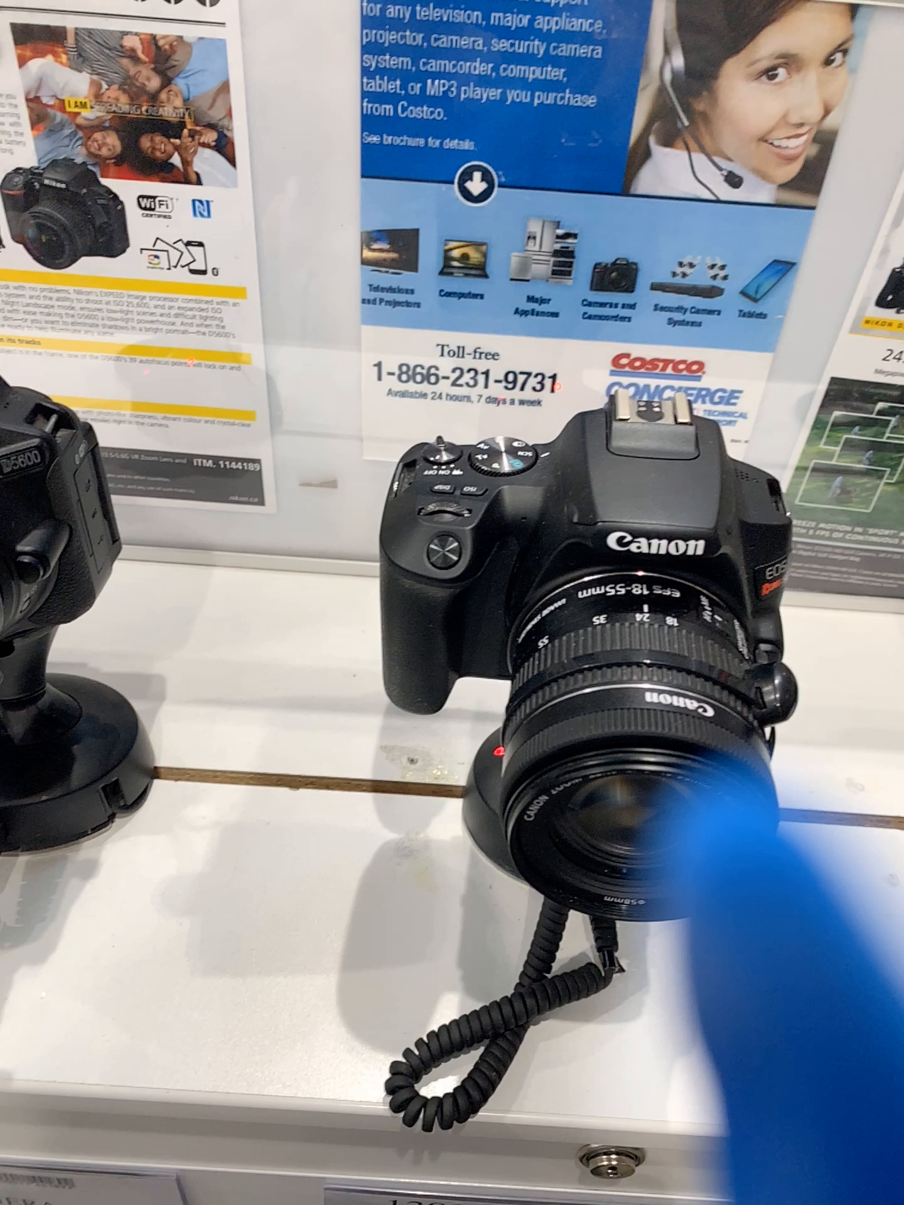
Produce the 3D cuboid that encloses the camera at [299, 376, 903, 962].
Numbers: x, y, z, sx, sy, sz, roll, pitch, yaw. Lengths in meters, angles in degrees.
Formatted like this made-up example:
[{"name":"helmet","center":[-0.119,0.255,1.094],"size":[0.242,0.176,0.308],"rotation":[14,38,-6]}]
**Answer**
[{"name":"camera","center":[0.035,0.012,0.236],"size":[0.120,0.089,0.111],"rotation":[3,40,2]}]
